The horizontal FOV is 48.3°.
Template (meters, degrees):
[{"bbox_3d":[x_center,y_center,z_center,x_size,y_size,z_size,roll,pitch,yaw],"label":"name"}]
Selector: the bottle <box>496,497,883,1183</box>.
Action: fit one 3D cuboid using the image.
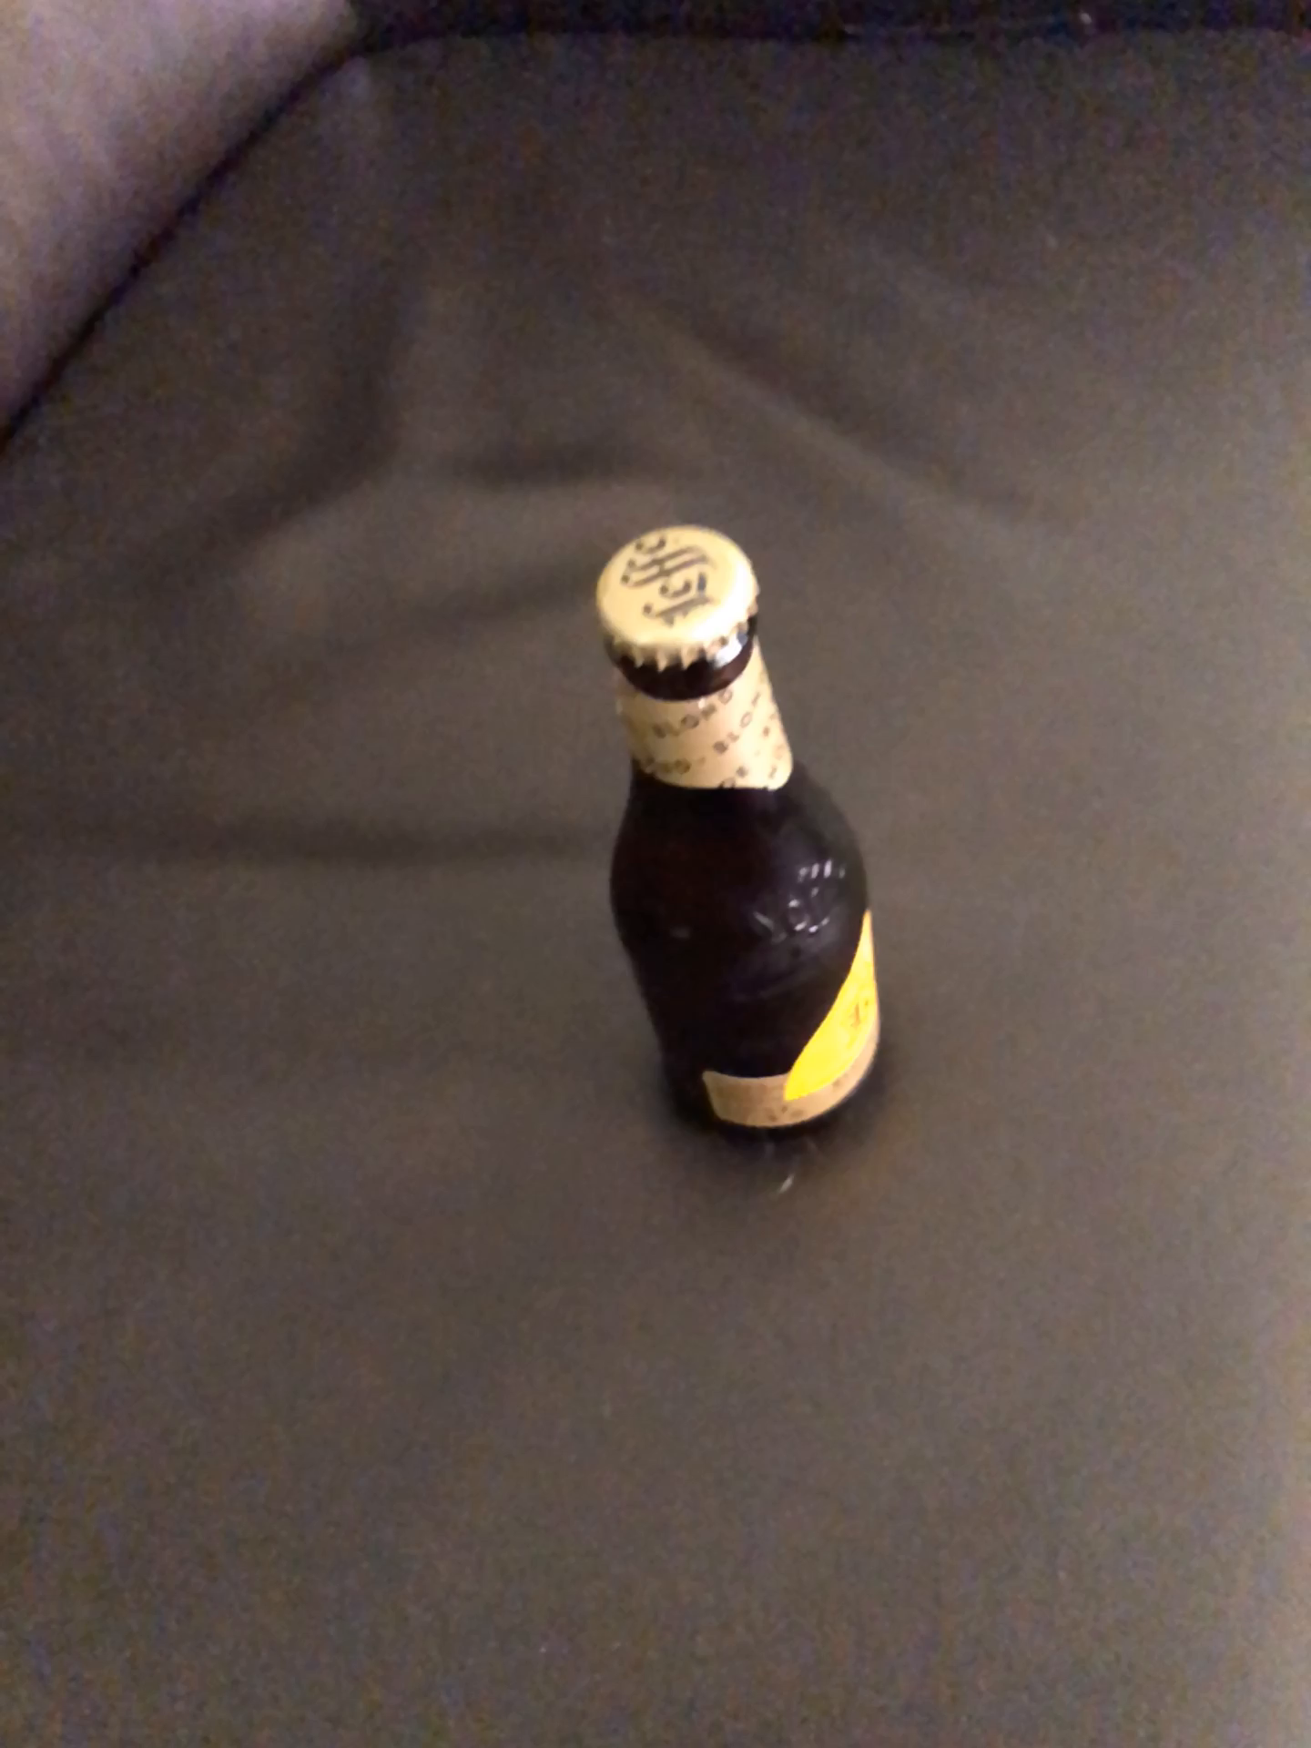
[{"bbox_3d":[0.019,0.007,0.327,0.060,0.189,0.060,-4,59,6],"label":"bottle"}]
